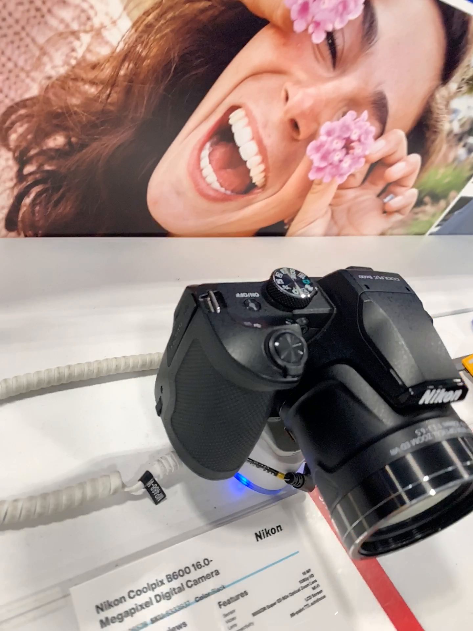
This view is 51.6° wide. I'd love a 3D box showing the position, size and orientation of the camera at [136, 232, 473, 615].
[{"bbox_3d":[0.039,0.032,0.198,0.120,0.080,0.100,-1,42,-31],"label":"camera"}]
